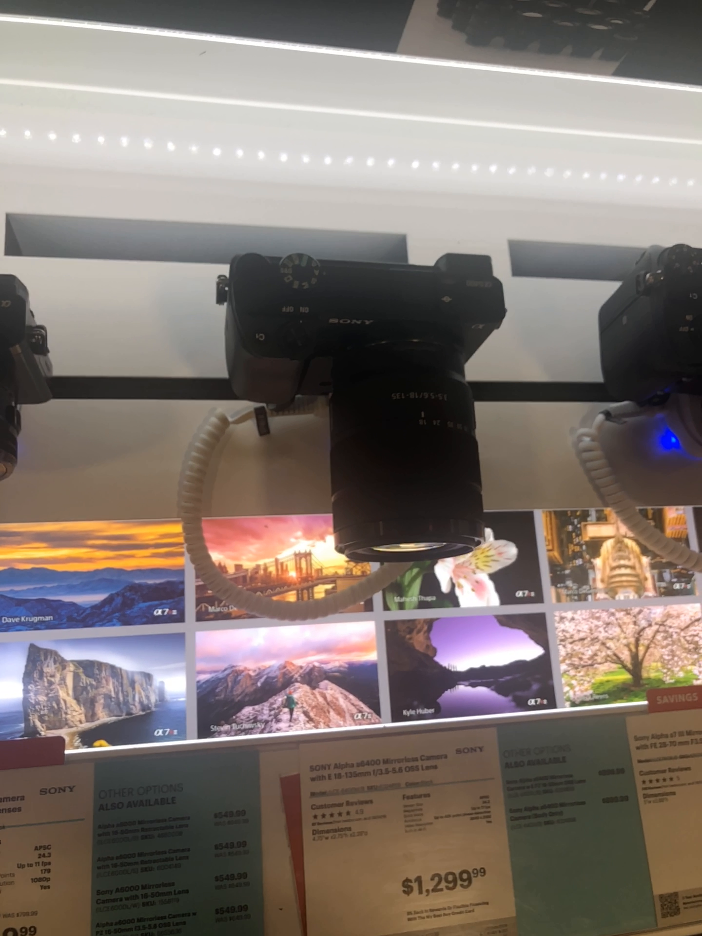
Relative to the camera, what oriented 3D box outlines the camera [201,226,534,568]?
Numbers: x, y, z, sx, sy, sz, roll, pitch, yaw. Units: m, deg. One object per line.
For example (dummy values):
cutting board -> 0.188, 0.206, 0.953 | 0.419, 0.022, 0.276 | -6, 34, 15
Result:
camera -> 0.001, -0.025, 0.348 | 0.130, 0.070, 0.130 | 1, 76, -12
